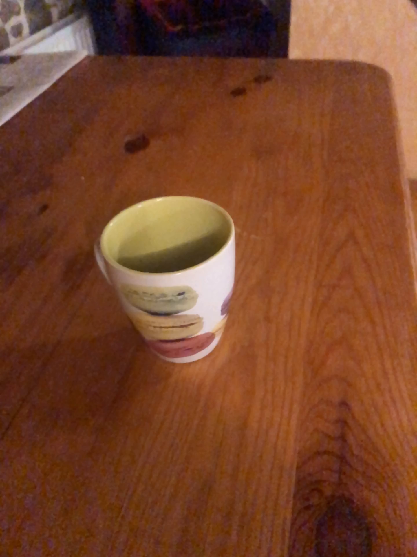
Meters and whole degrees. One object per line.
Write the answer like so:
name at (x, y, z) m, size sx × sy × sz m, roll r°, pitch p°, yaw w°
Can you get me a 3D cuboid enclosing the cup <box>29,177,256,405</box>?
cup at (-0.041, 0.004, 0.347) m, size 0.120 × 0.099 × 0.098 m, roll 20°, pitch 46°, yaw 25°
